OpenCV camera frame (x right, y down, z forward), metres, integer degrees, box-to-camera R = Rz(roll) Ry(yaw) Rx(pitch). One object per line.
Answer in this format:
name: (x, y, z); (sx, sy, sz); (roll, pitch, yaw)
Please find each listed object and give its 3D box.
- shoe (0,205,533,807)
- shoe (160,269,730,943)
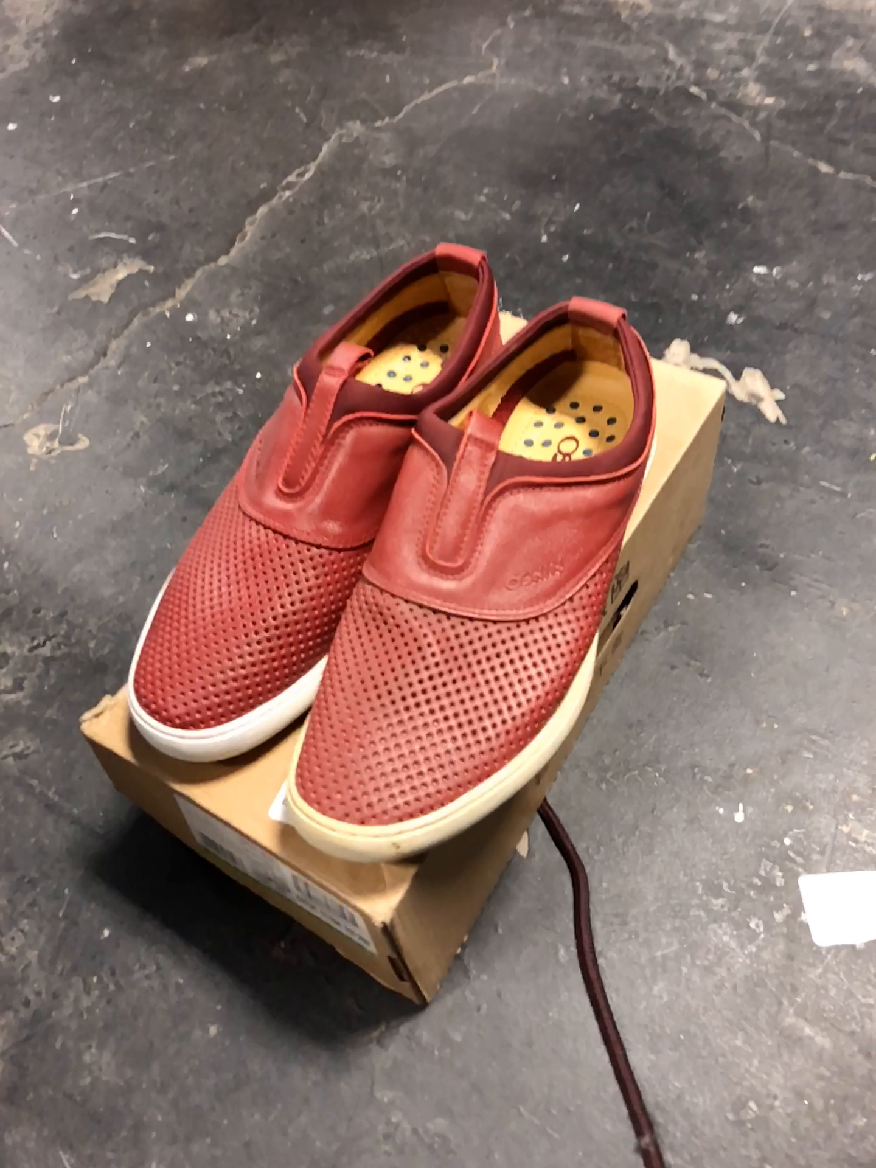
shoe: (-0.060, -0.047, 0.422); (0.100, 0.089, 0.251); (22, 59, 21)
shoe: (0.019, -0.006, 0.390); (0.100, 0.089, 0.251); (22, 59, 21)
